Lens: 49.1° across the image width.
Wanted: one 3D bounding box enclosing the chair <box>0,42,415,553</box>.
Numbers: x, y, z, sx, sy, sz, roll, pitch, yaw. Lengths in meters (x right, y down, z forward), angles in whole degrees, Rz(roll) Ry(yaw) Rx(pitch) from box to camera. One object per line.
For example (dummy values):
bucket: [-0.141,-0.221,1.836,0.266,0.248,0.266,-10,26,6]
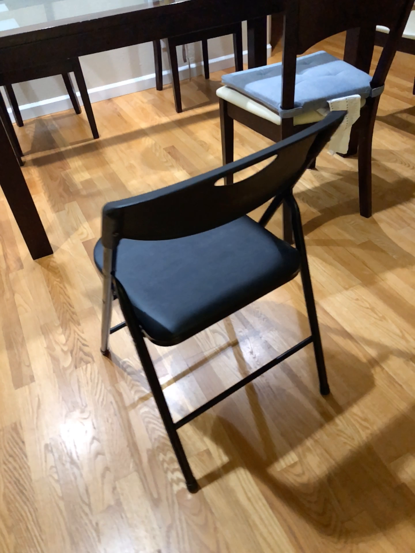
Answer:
chair: [0.003,-0.010,0.964,0.611,0.656,0.683,-27,45,-22]
